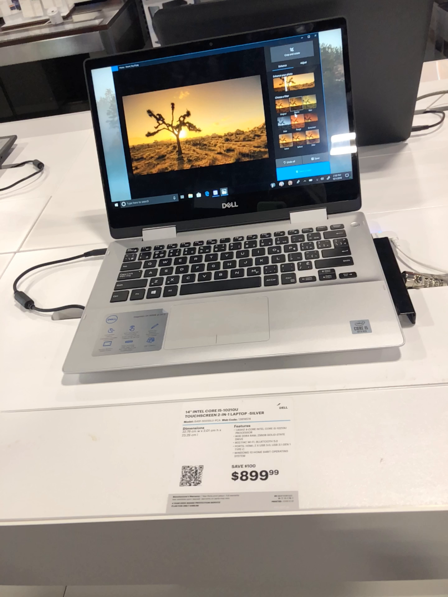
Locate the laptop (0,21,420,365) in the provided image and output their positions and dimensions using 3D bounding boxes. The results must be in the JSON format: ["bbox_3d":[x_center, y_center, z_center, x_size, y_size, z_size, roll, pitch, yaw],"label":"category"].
[{"bbox_3d":[-0.008,-0.123,0.519,0.311,0.195,0.328,-5,39,10],"label":"laptop"}]
